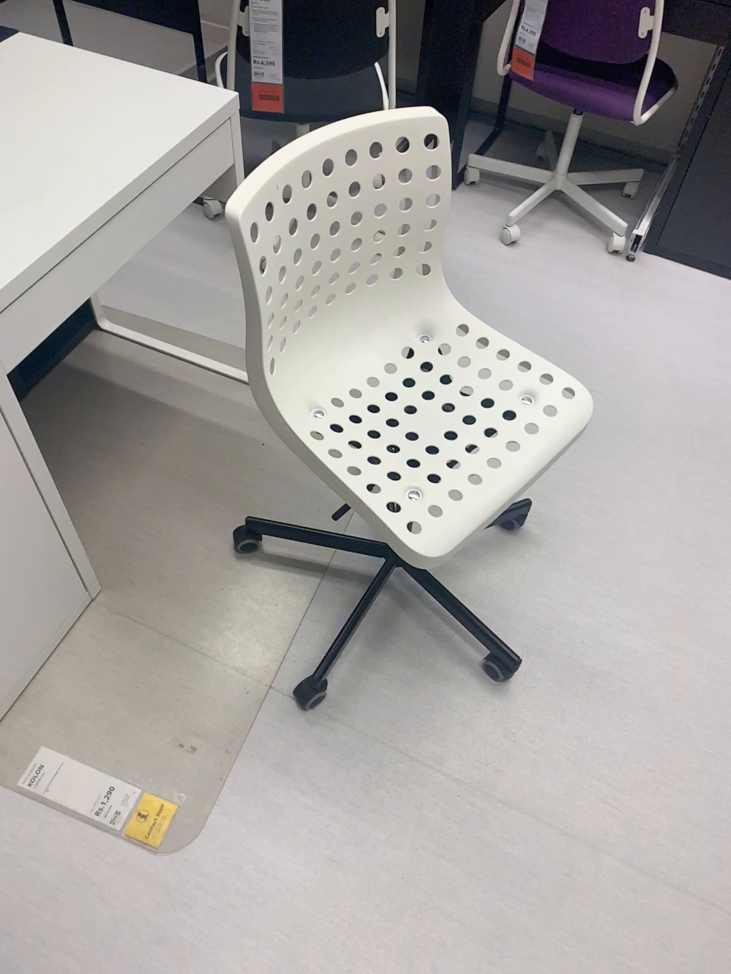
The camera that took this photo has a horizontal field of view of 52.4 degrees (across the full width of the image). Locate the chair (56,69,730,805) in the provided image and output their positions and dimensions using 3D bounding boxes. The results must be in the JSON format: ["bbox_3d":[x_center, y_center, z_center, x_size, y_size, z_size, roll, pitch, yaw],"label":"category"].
[{"bbox_3d":[0.082,-0.074,1.251,0.671,0.788,0.681,36,58,22],"label":"chair"}]
